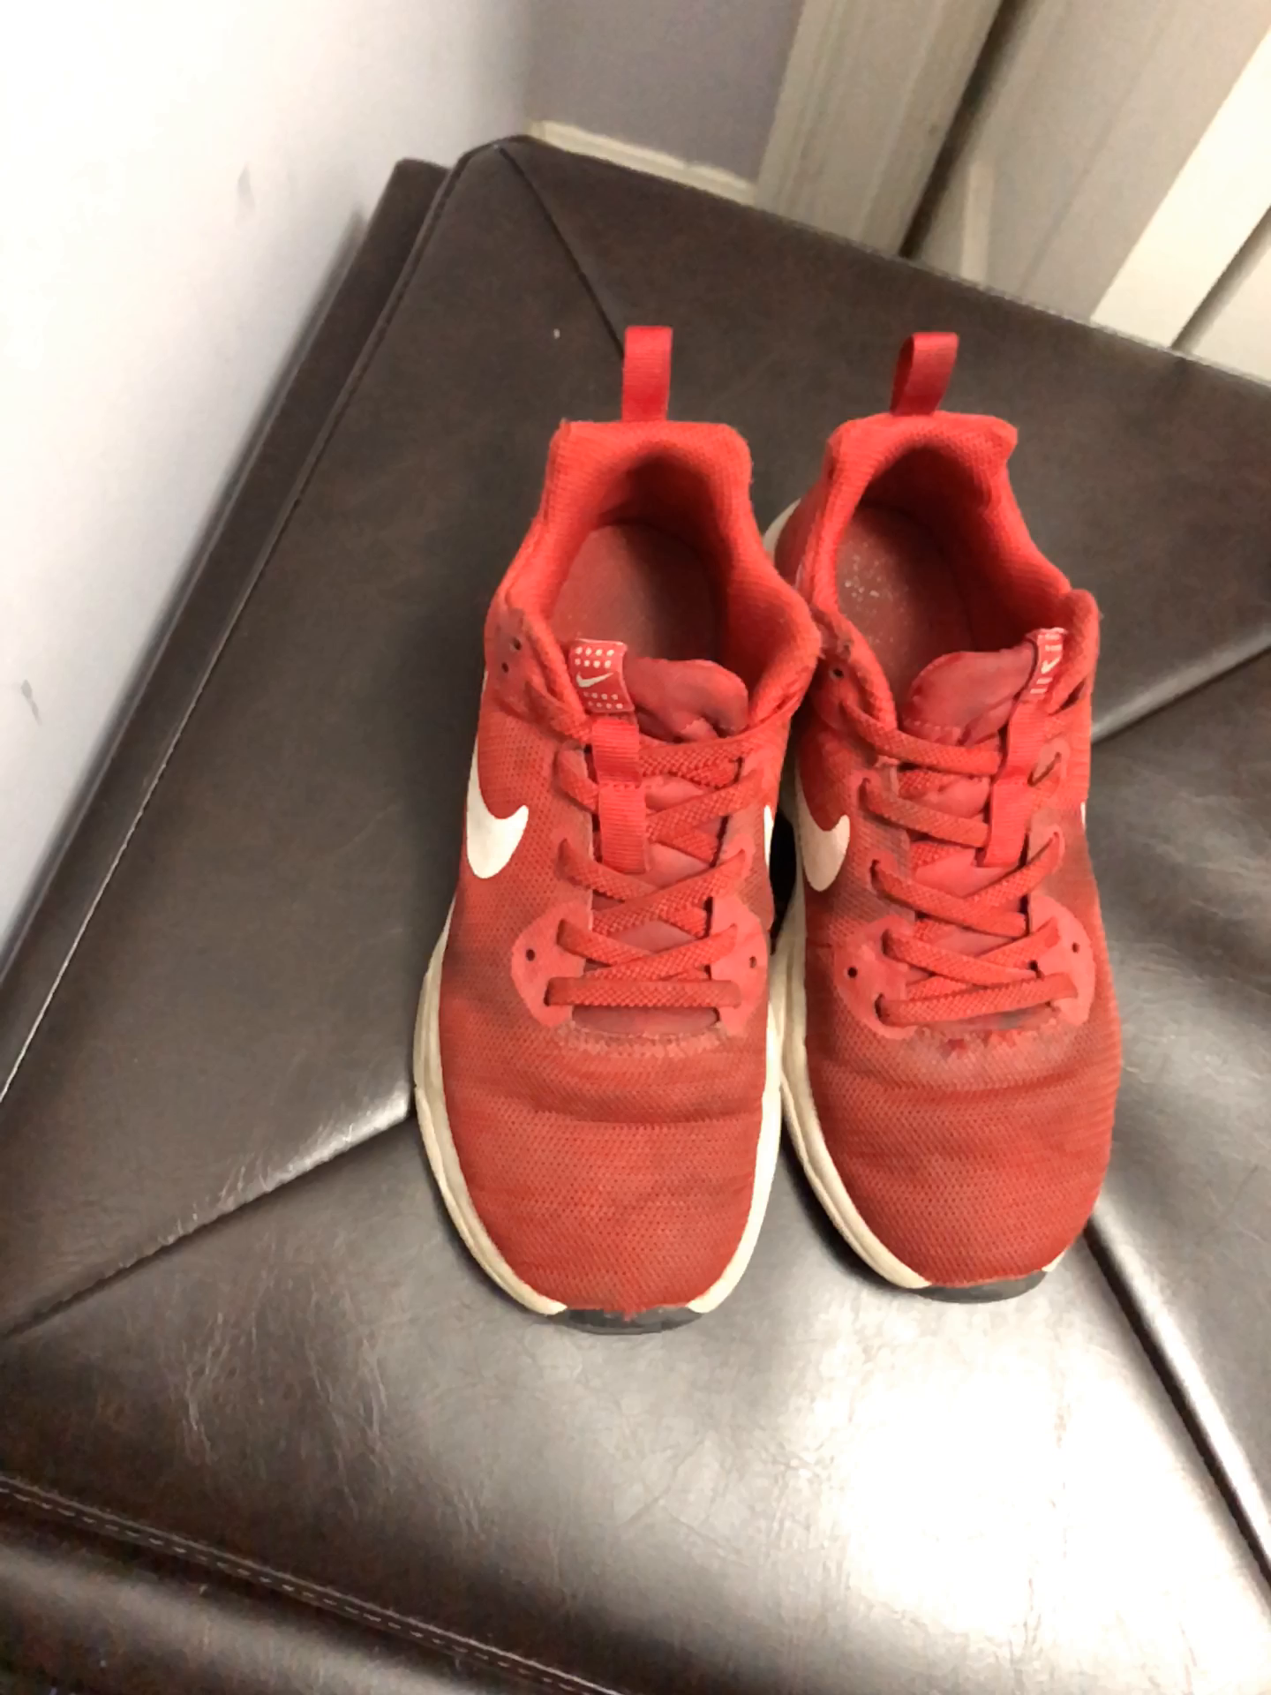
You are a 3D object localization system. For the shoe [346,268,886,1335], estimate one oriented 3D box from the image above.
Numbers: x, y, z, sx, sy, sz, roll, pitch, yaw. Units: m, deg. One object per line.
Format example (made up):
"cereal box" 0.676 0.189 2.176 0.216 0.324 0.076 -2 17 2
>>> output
"shoe" -0.007 -0.005 0.329 0.095 0.100 0.220 3 72 -7

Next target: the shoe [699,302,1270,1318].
"shoe" 0.085 -0.007 0.345 0.095 0.100 0.220 -4 73 -9
